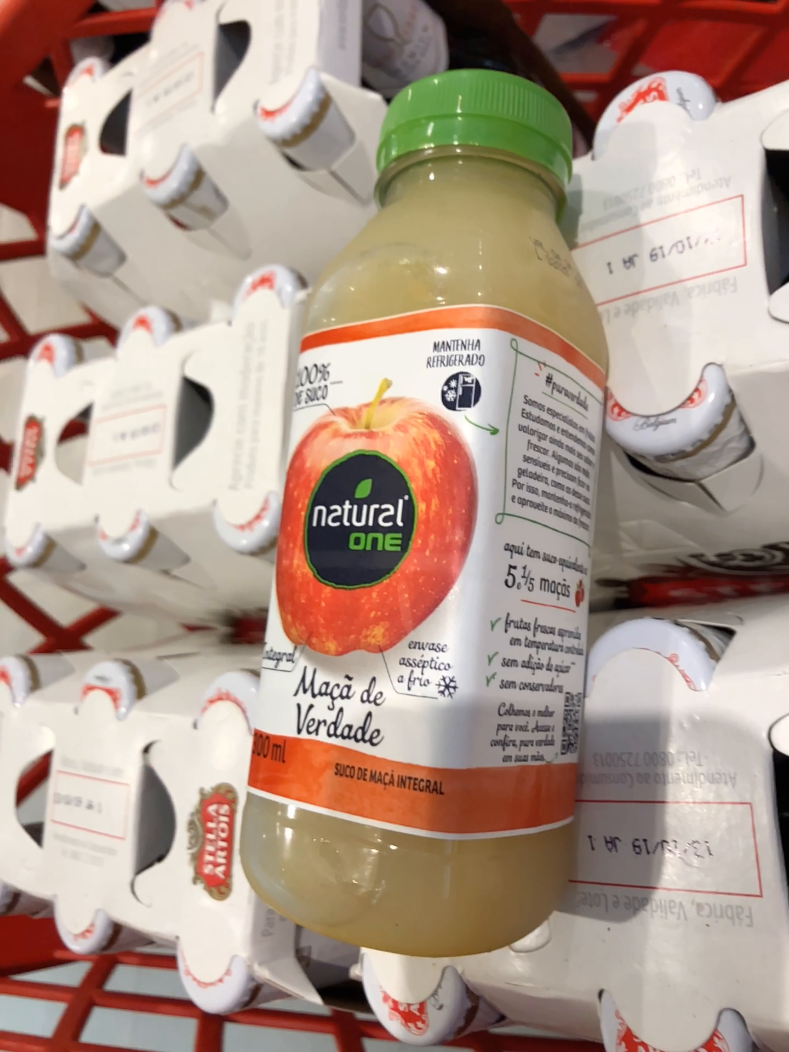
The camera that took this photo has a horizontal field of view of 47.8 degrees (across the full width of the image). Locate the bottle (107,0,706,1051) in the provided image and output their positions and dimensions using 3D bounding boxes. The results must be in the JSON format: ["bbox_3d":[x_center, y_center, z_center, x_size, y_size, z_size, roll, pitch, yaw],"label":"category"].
[{"bbox_3d":[0.008,-0.015,0.164,0.060,0.060,0.180,1,78,41],"label":"bottle"}]
